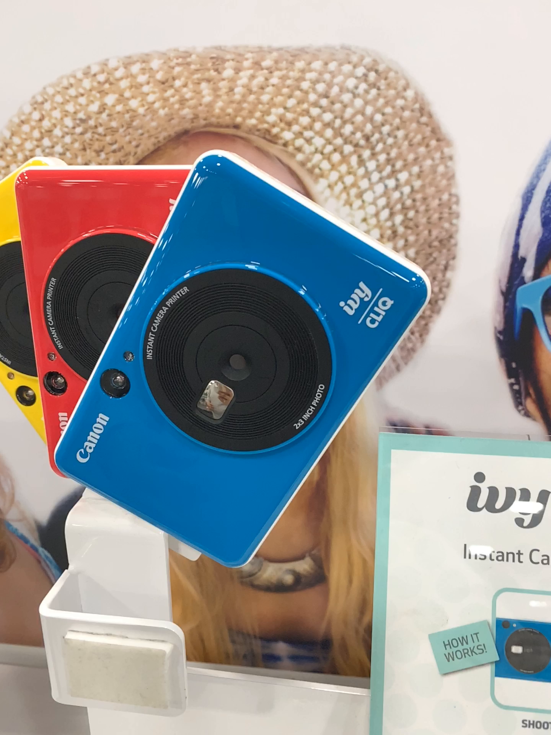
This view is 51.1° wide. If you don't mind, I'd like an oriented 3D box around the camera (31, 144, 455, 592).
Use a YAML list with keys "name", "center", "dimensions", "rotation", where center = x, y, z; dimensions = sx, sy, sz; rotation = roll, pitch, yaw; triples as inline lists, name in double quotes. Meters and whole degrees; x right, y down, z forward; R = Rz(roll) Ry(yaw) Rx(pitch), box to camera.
- name: "camera"
  center: [-0.014, 0.004, 0.180]
  dimensions: [0.078, 0.113, 0.030]
  rotation: [31, 20, -5]

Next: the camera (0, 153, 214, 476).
- name: "camera"
  center: [-0.091, -0.018, 0.254]
  dimensions: [0.068, 0.123, 0.030]
  rotation: [-24, 19, 22]

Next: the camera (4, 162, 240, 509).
- name: "camera"
  center: [-0.052, -0.011, 0.217]
  dimensions: [0.067, 0.123, 0.030]
  rotation: [4, 23, 11]
